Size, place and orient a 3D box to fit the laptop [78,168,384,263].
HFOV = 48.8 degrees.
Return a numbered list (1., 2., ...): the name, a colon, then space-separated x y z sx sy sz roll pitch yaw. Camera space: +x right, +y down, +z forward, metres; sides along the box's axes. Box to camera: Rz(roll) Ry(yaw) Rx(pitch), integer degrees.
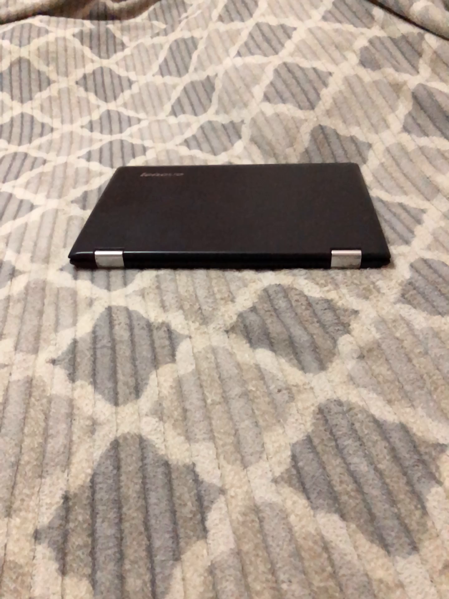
1. laptop: 0.012 -0.116 0.638 0.339 0.005 0.232 1 39 4
